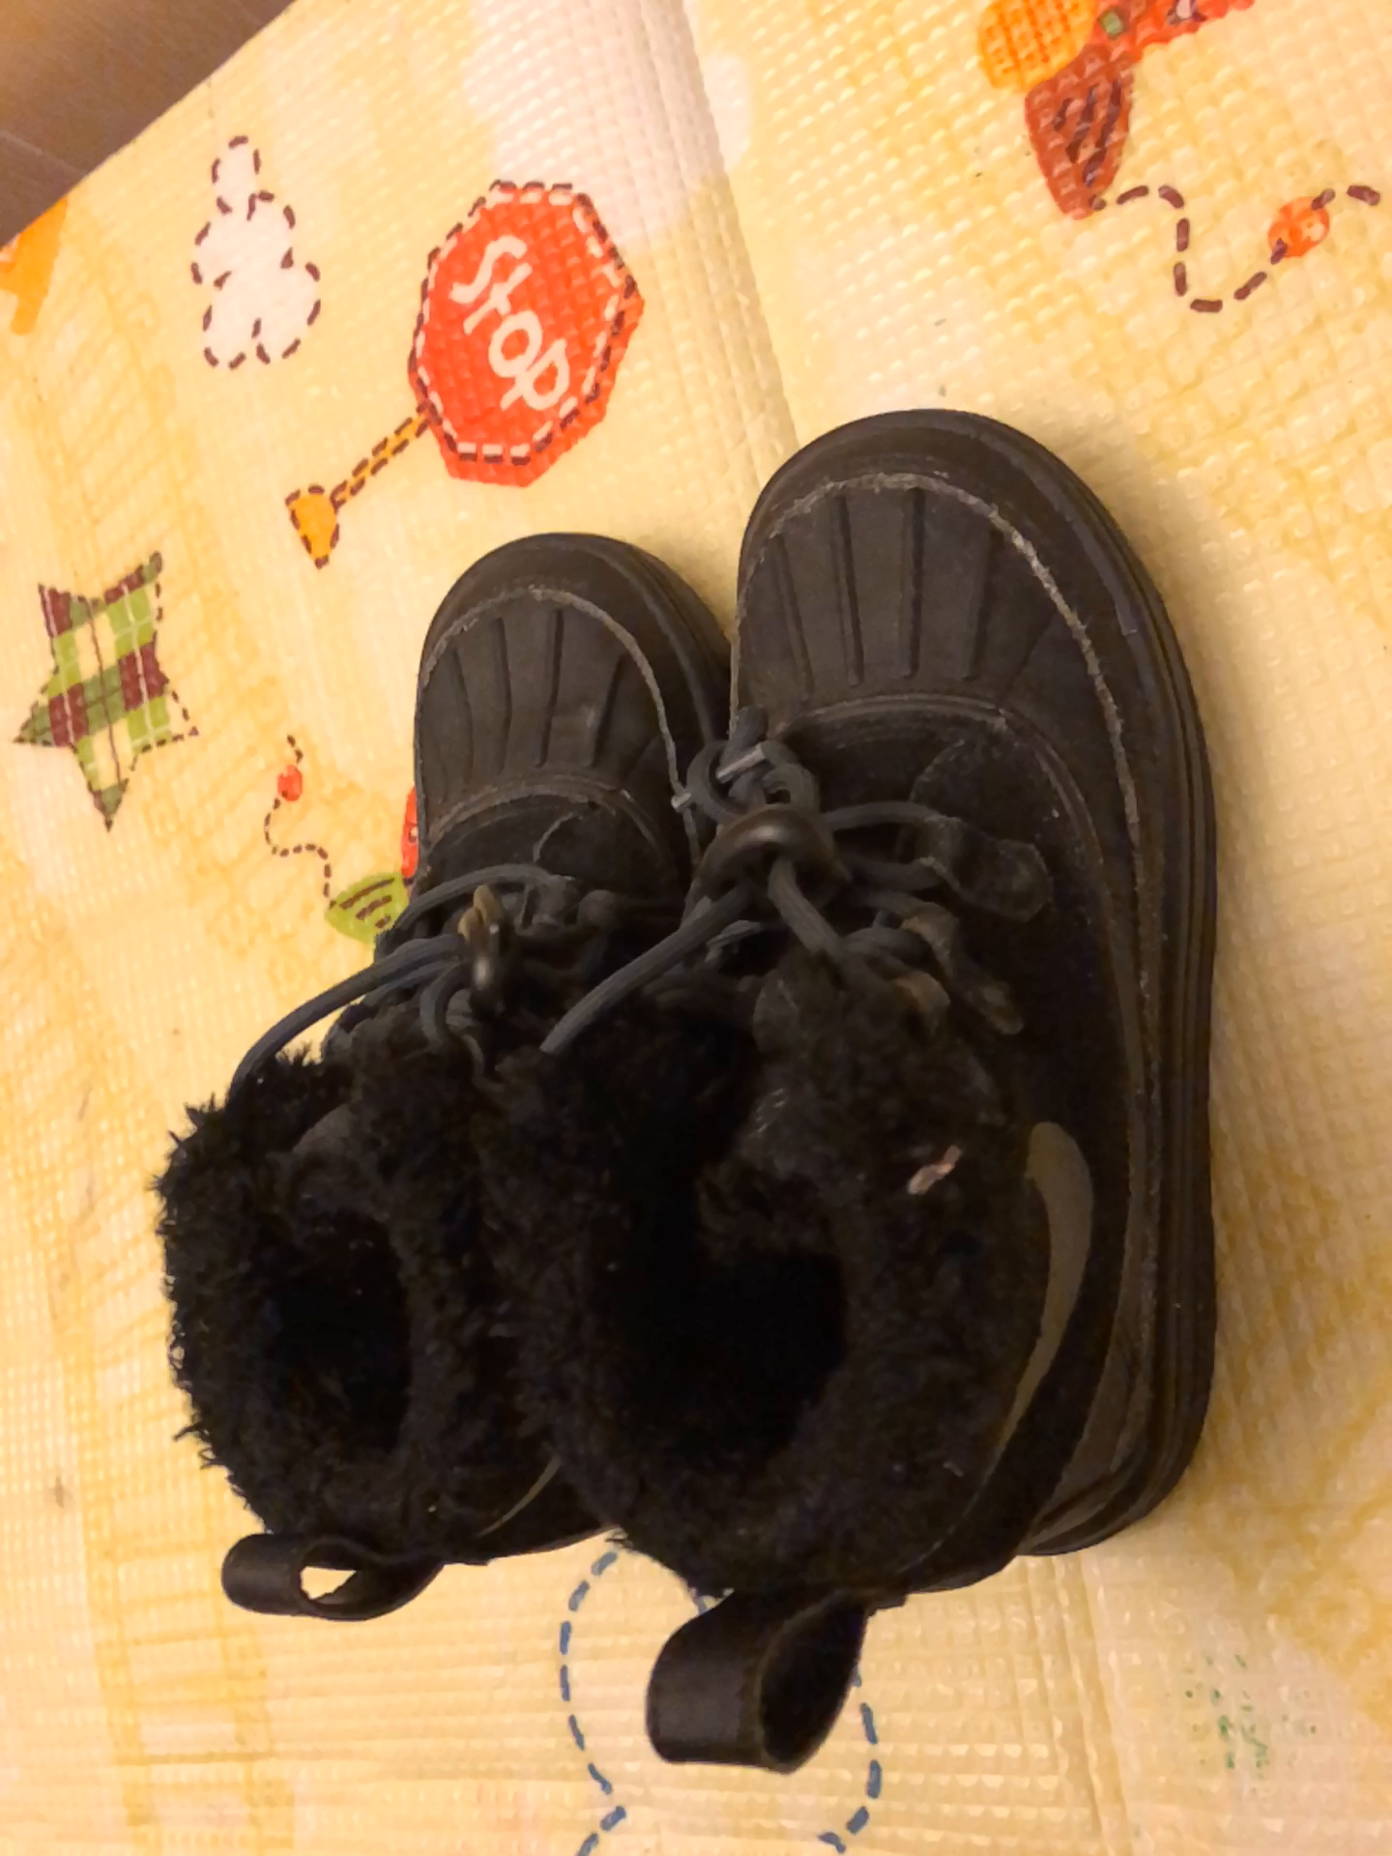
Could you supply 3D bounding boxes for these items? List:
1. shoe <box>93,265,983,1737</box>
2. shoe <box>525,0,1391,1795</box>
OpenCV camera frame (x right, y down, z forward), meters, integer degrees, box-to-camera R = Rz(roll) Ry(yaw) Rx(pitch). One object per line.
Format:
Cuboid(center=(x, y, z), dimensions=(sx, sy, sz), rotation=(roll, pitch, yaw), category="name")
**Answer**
Cuboid(center=(-0.027, 0.015, 0.290), dimensions=(0.090, 0.120, 0.210), rotation=(-13, 79, 32), category="shoe")
Cuboid(center=(0.049, -0.006, 0.250), dimensions=(0.090, 0.110, 0.220), rotation=(-9, 81, 33), category="shoe")
